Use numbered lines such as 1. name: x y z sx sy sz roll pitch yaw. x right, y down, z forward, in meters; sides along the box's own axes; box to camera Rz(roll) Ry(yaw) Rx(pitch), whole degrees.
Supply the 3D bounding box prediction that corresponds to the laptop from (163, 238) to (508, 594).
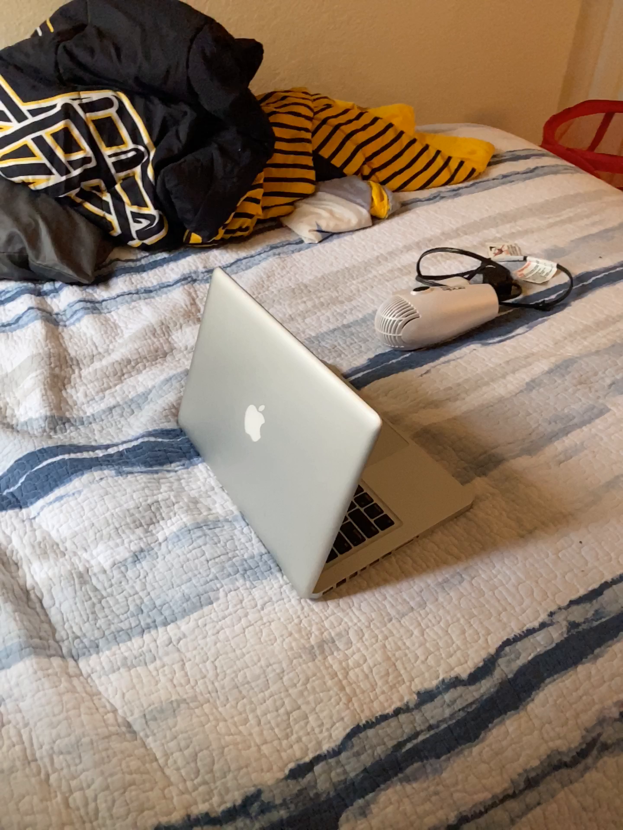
1. laptop: 0.010 -0.018 0.701 0.214 0.188 0.302 -24 47 -21
